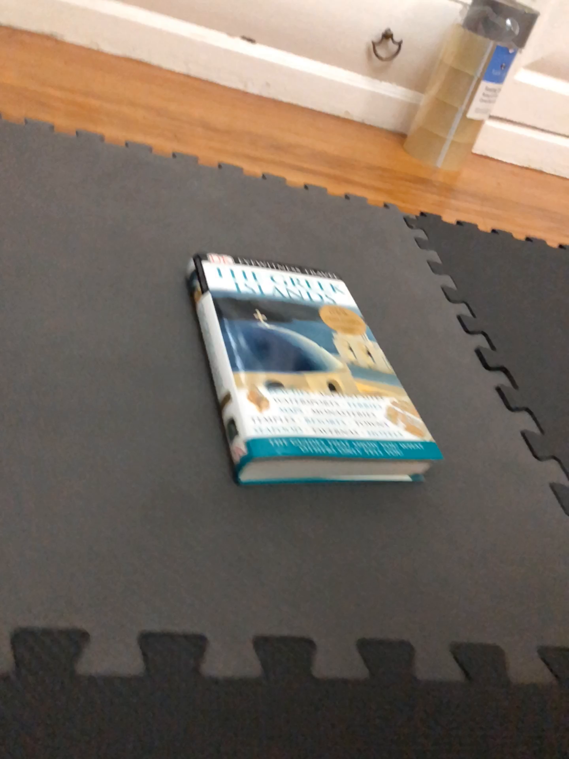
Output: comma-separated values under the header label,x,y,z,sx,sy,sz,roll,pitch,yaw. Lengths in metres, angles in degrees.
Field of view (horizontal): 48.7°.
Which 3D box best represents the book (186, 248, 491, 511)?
label,x,y,z,sx,sy,sz,roll,pitch,yaw
book,0.023,-0.012,0.461,0.160,0.030,0.241,4,40,-20
